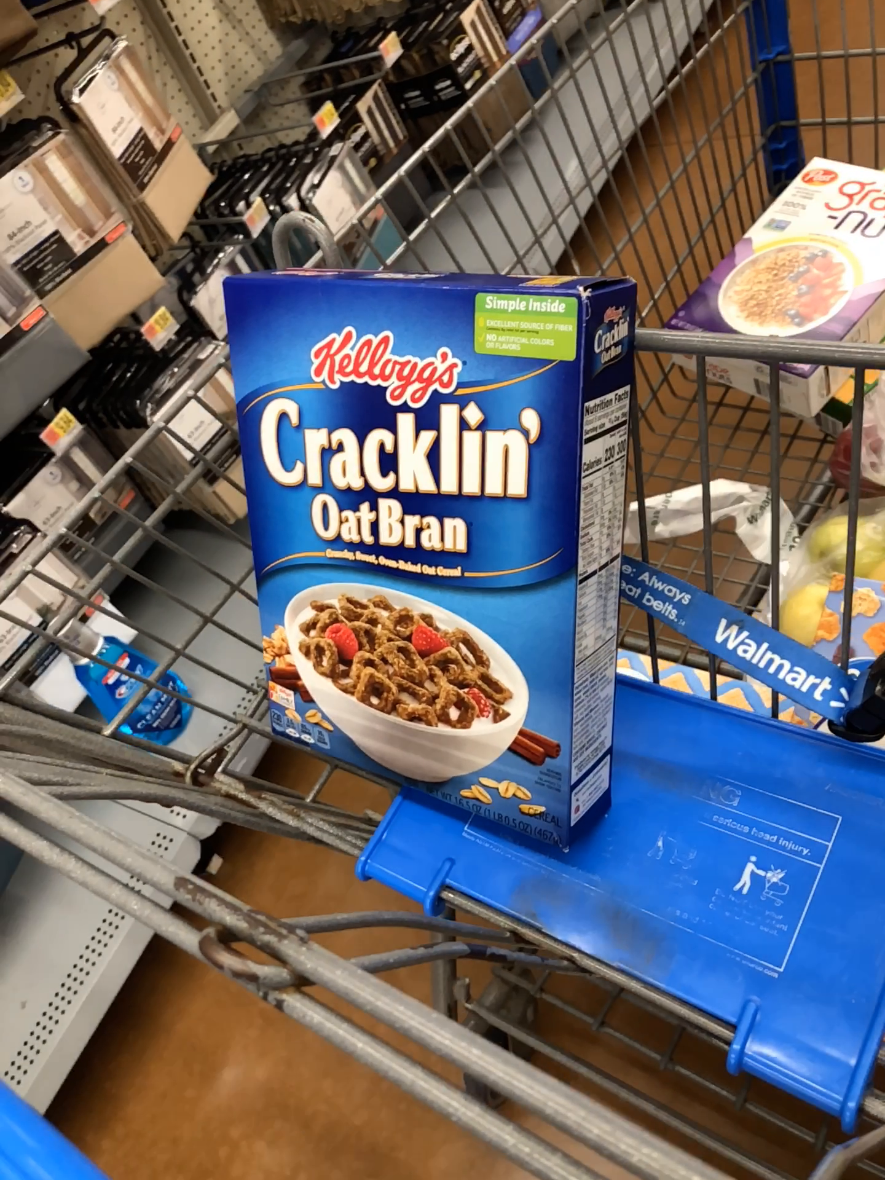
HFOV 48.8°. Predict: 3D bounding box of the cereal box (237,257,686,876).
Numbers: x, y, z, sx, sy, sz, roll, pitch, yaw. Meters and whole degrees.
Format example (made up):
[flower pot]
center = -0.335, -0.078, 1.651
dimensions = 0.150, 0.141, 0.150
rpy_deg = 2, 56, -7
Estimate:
[cereal box]
center = 0.002, -0.020, 0.467
dimensions = 0.201, 0.260, 0.050
rpy_deg = 14, 26, 34
